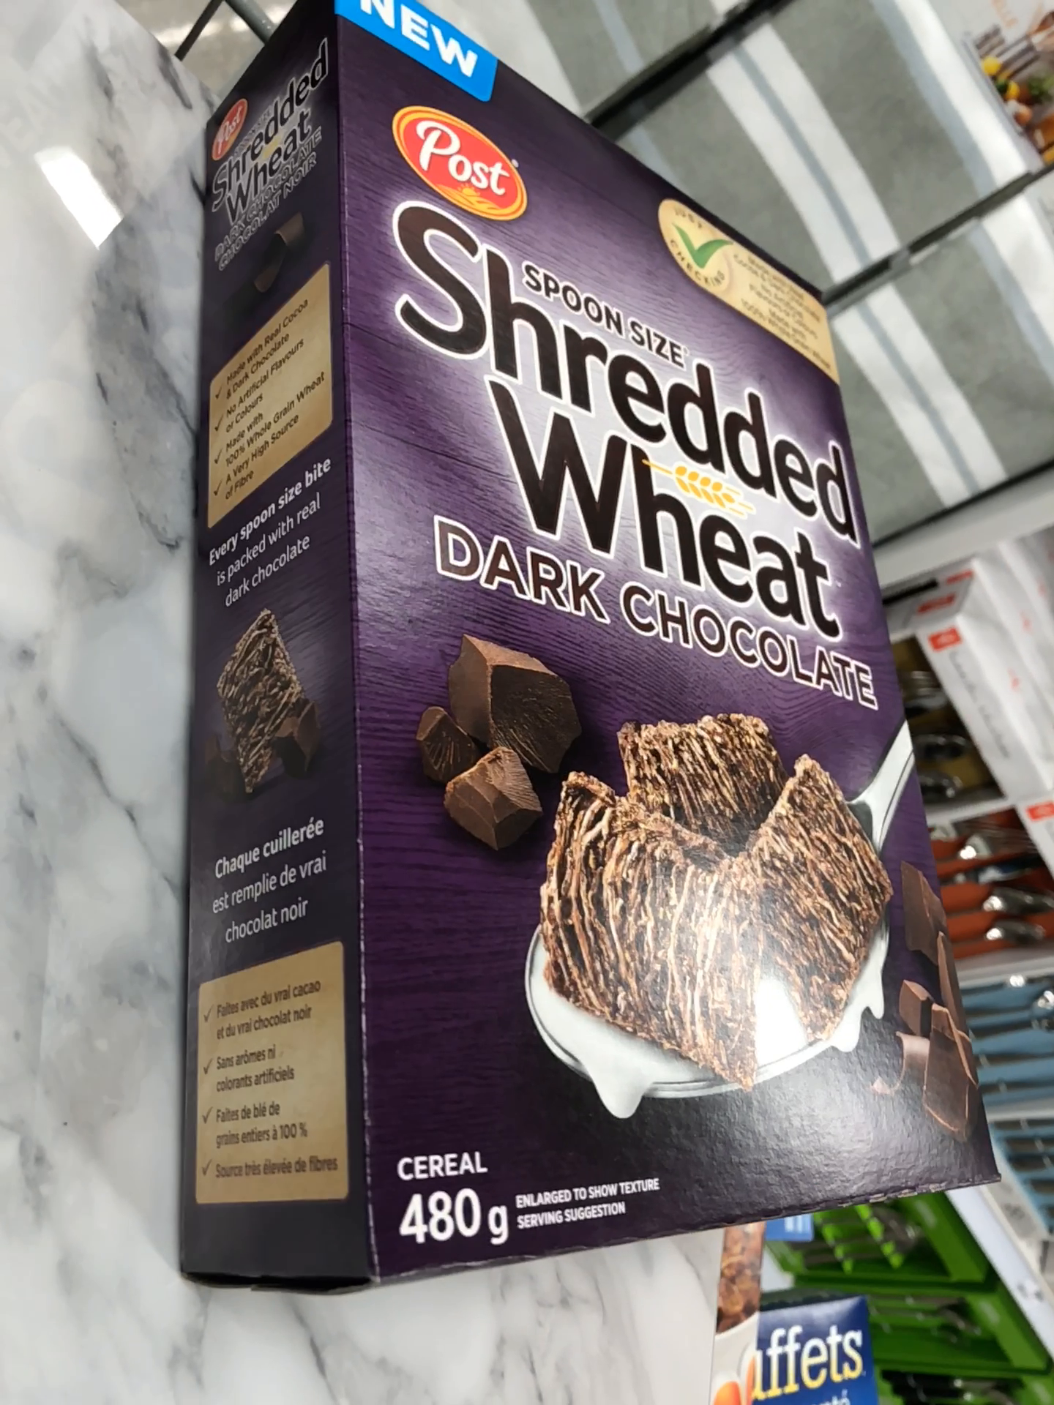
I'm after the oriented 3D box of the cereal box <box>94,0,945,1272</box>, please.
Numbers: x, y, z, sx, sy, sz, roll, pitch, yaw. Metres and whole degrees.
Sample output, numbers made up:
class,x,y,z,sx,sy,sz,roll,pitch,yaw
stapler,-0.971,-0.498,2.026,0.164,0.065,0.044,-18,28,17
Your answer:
class,x,y,z,sx,sy,sz,roll,pitch,yaw
cereal box,0.005,-0.027,0.304,0.191,0.070,0.290,15,63,-43
